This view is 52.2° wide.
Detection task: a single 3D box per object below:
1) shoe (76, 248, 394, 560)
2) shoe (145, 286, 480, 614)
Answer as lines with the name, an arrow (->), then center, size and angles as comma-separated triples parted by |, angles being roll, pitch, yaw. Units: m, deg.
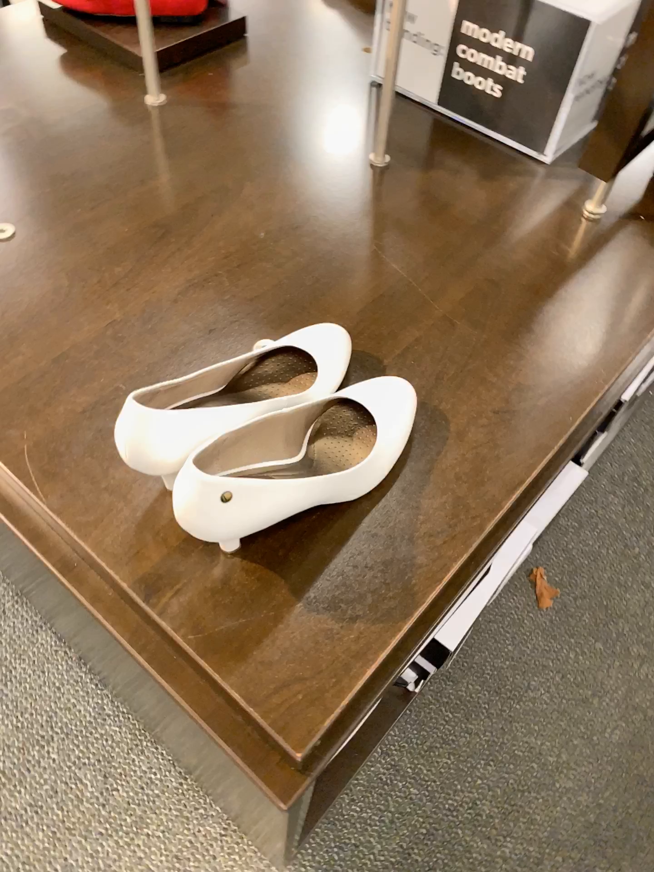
shoe -> -0.064, -0.035, 0.568 | 0.090, 0.110, 0.261 | 36, 59, 20
shoe -> -0.003, 0.003, 0.537 | 0.090, 0.110, 0.261 | 39, 61, 22
